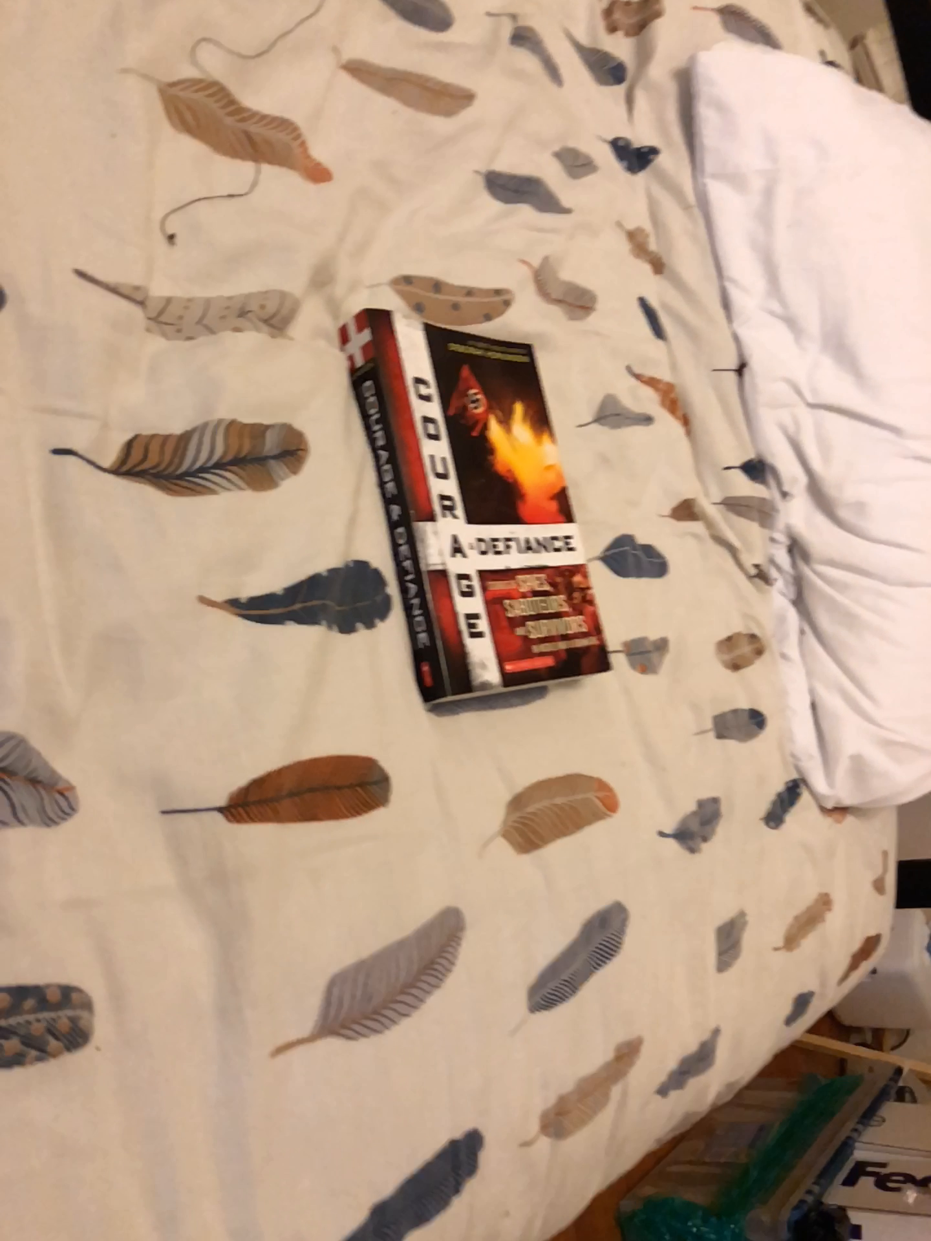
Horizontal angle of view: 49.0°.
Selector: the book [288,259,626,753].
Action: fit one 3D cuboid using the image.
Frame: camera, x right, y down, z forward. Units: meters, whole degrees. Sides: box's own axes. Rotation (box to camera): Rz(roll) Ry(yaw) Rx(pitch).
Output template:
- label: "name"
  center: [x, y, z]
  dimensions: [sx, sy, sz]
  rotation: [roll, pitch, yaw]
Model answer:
- label: "book"
  center: [0.007, -0.061, 0.553]
  dimensions: [0.201, 0.020, 0.230]
  rotation: [-7, 84, -54]
